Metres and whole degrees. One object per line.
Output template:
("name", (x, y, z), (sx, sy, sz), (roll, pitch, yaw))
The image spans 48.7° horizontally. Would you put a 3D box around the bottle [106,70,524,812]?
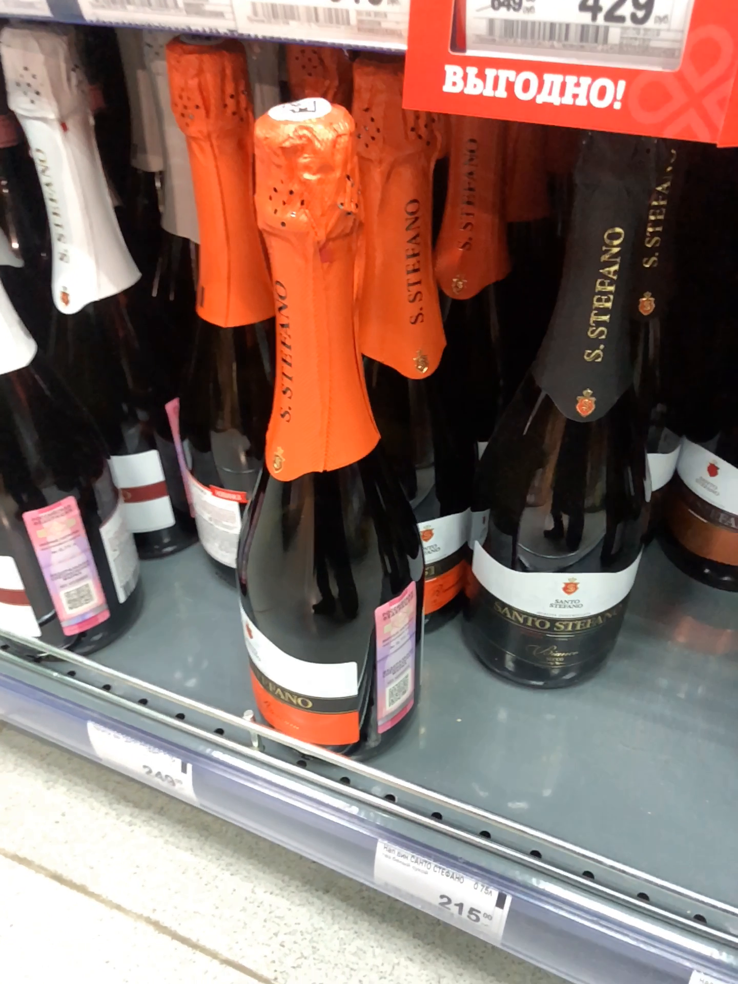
("bottle", (-0.018, -0.003, 0.356), (0.100, 0.298, 0.100), (-1, 39, 1))
